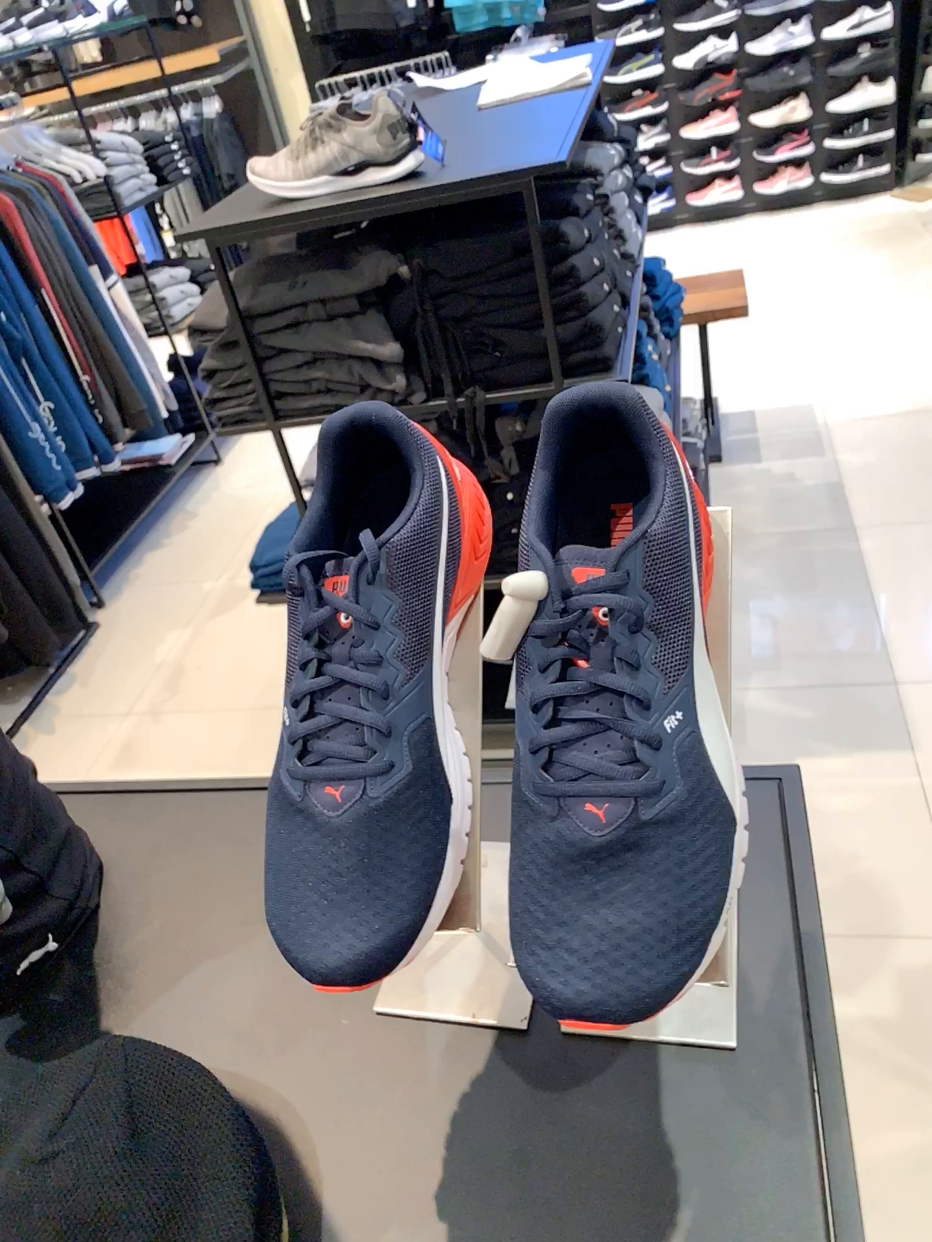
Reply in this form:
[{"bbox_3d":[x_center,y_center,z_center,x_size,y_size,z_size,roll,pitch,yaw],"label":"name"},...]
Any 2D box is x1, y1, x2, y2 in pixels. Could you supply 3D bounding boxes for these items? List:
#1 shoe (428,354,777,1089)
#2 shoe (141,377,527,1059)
[{"bbox_3d":[0.058,0.034,0.379,0.100,0.099,0.262,-4,61,15],"label":"shoe"},{"bbox_3d":[-0.037,0.032,0.383,0.100,0.079,0.252,-4,61,15],"label":"shoe"}]
